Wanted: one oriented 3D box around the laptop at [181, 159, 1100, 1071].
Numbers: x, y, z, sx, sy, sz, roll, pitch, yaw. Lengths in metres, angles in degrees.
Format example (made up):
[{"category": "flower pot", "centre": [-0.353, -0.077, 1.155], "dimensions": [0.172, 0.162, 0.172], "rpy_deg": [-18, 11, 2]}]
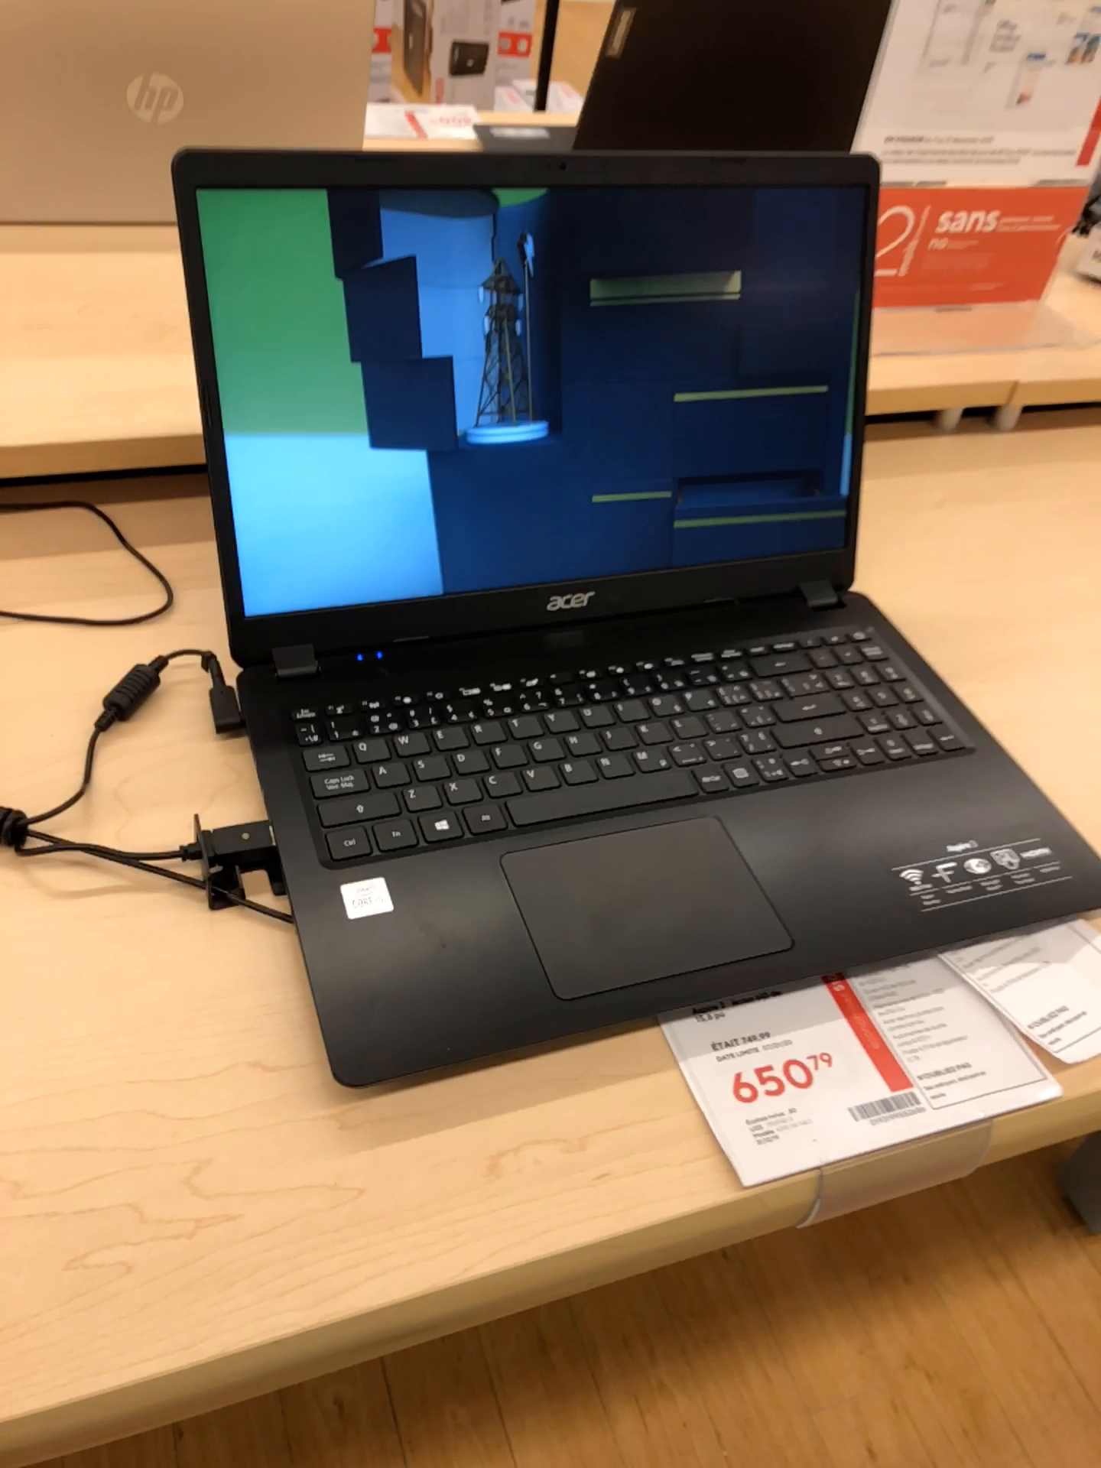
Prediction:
[{"category": "laptop", "centre": [0.052, -0.084, 0.531], "dimensions": [0.354, 0.210, 0.328], "rpy_deg": [-8, 44, -19]}]
